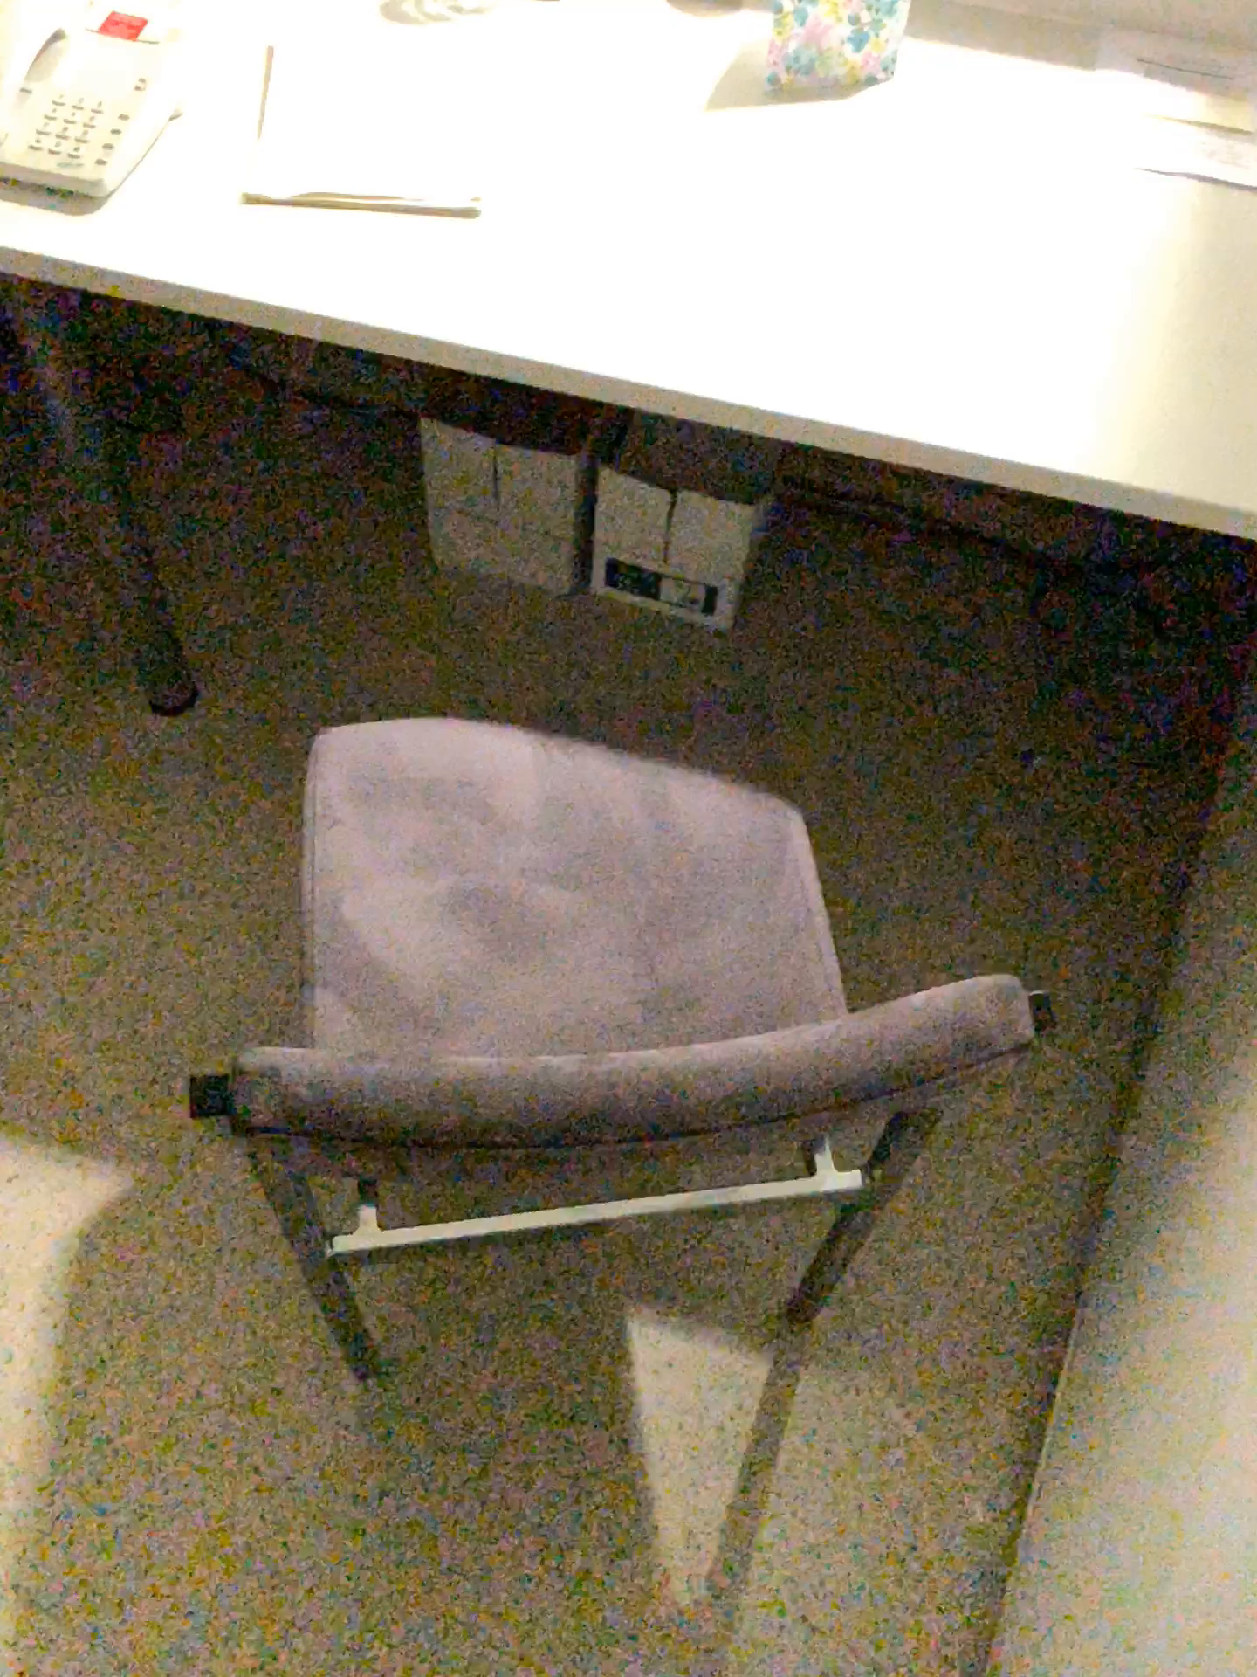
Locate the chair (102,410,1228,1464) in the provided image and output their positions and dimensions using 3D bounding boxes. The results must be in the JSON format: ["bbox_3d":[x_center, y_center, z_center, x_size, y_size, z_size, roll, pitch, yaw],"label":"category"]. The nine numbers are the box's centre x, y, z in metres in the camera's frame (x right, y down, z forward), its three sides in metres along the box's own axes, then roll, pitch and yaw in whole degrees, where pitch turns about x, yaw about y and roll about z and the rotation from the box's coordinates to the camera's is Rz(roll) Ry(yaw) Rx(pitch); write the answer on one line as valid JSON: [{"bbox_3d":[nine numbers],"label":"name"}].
[{"bbox_3d":[-0.024,0.118,1.045,0.540,0.695,0.544,-3,55,-7],"label":"chair"}]
